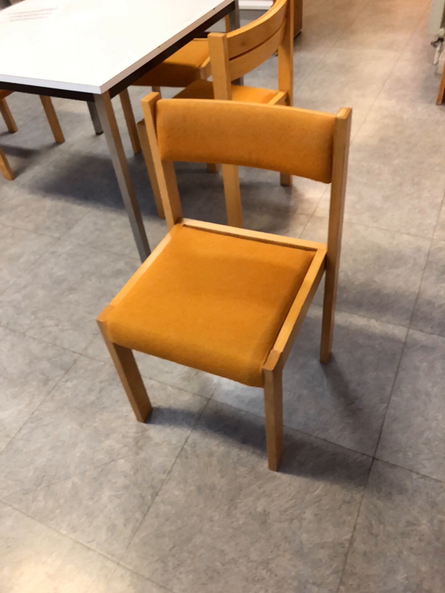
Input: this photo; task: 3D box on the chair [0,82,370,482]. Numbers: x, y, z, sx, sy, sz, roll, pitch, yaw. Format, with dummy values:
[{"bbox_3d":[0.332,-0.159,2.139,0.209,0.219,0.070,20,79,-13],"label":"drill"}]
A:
[{"bbox_3d":[-0.018,-0.043,1.181,0.550,0.696,0.523,14,48,21],"label":"chair"}]
